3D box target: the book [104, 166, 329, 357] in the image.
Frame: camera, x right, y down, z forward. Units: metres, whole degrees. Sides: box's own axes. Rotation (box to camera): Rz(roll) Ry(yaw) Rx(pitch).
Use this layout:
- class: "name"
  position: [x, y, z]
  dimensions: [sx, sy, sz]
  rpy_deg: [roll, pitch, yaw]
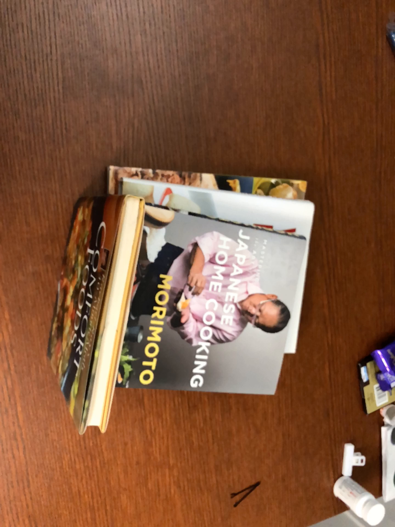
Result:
- class: "book"
  position: [0.032, 0.006, 0.568]
  dimensions: [0.281, 0.030, 0.220]
  rpy_deg: [4, 95, -21]

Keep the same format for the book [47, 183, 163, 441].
- class: "book"
  position: [-0.107, 0.028, 0.448]
  dimensions: [0.030, 0.210, 0.210]
  rpy_deg: [12, 93, -25]

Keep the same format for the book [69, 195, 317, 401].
- class: "book"
  position: [0.003, 0.053, 0.546]
  dimensions: [0.281, 0.030, 0.220]
  rpy_deg: [9, 93, -22]

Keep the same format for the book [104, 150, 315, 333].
- class: "book"
  position: [0.022, -0.023, 0.591]
  dimensions: [0.281, 0.030, 0.220]
  rpy_deg: [1, 96, -21]
